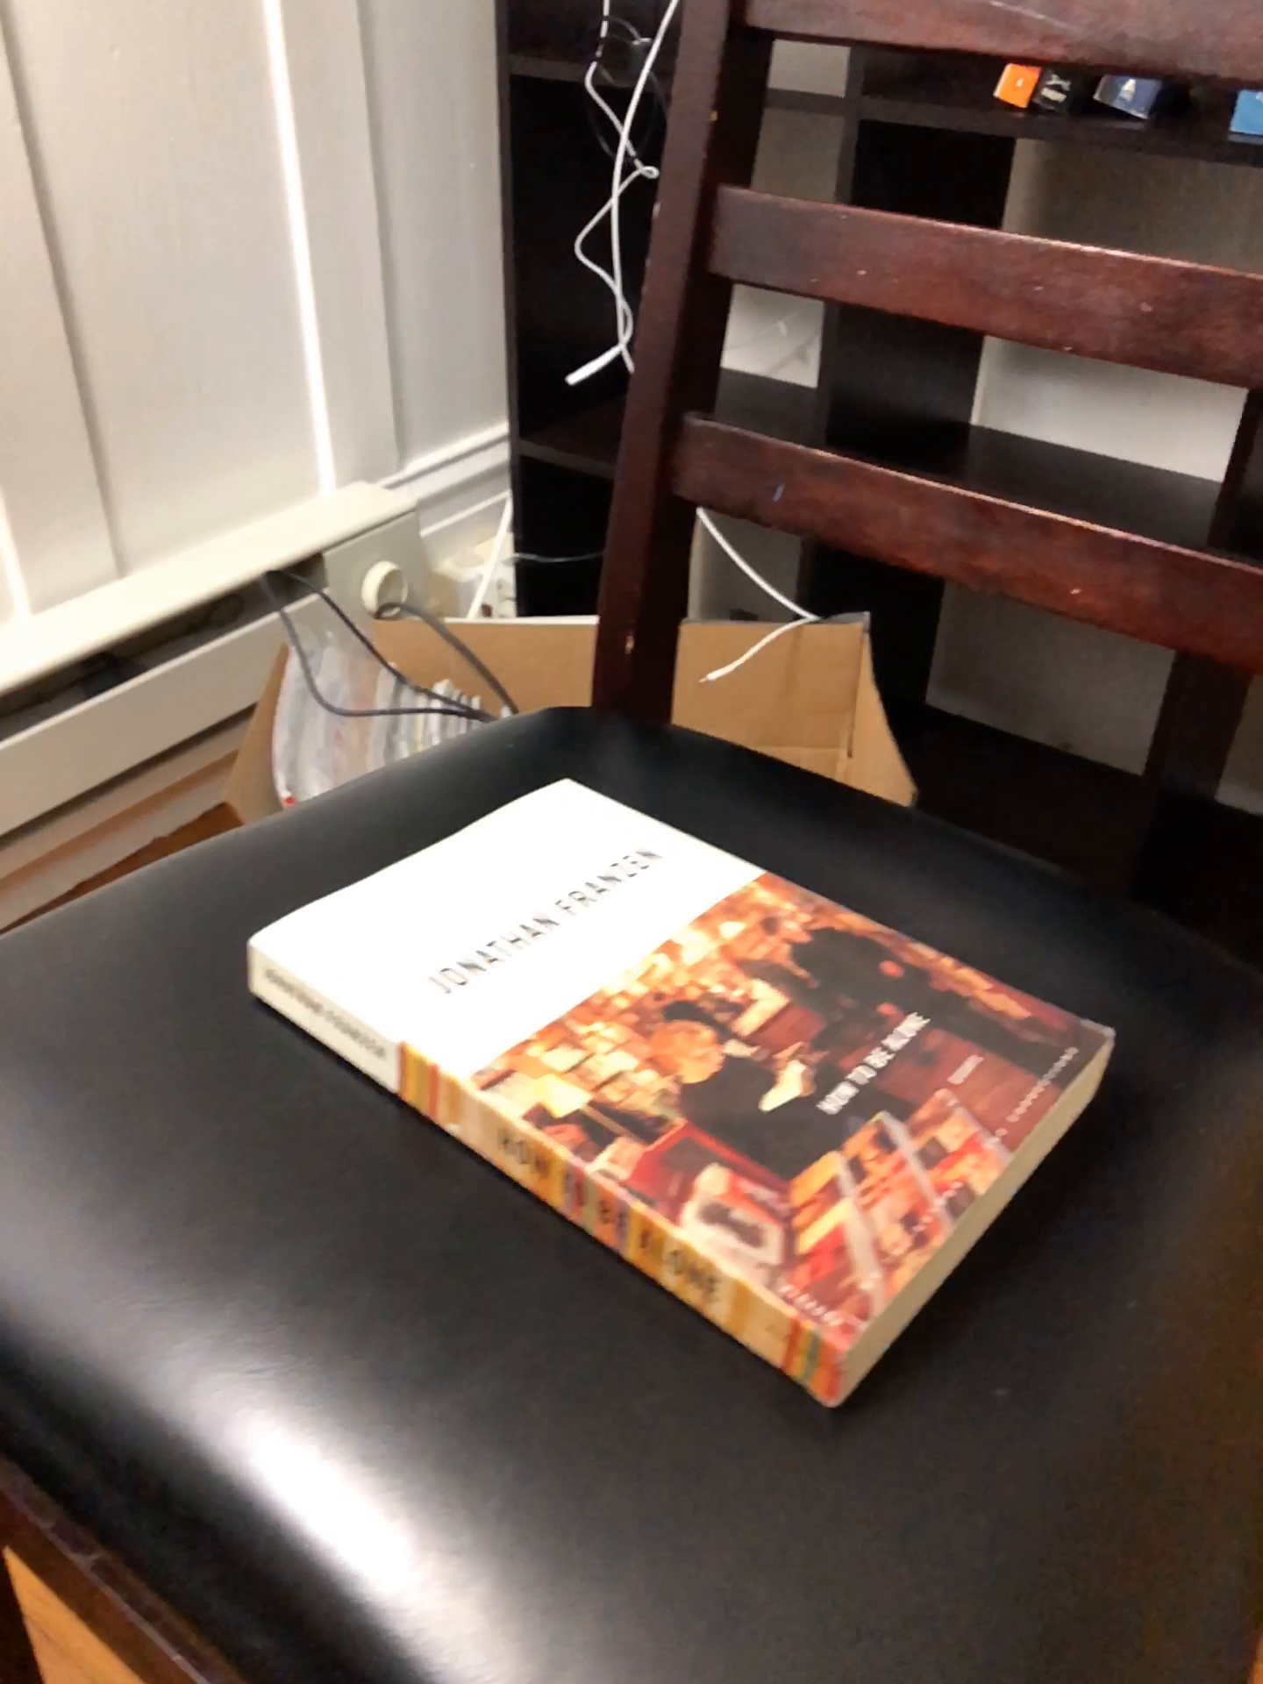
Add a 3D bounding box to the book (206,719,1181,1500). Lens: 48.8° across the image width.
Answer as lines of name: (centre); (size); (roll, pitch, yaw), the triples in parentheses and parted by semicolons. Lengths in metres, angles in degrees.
book: (0.014, 0.051, 0.411); (0.230, 0.040, 0.161); (27, 43, 31)
